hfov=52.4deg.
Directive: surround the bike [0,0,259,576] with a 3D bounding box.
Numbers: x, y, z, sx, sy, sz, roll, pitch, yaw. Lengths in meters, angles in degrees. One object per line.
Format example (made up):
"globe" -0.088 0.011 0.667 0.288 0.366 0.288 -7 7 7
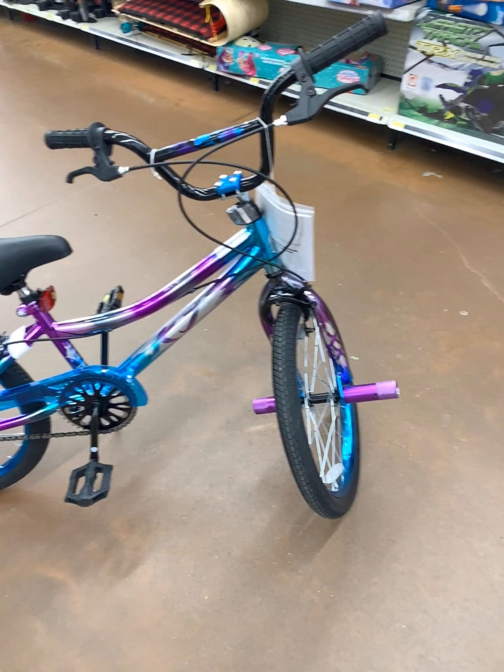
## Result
"bike" -0.463 -0.072 0.962 0.933 0.931 0.580 -3 44 -3
